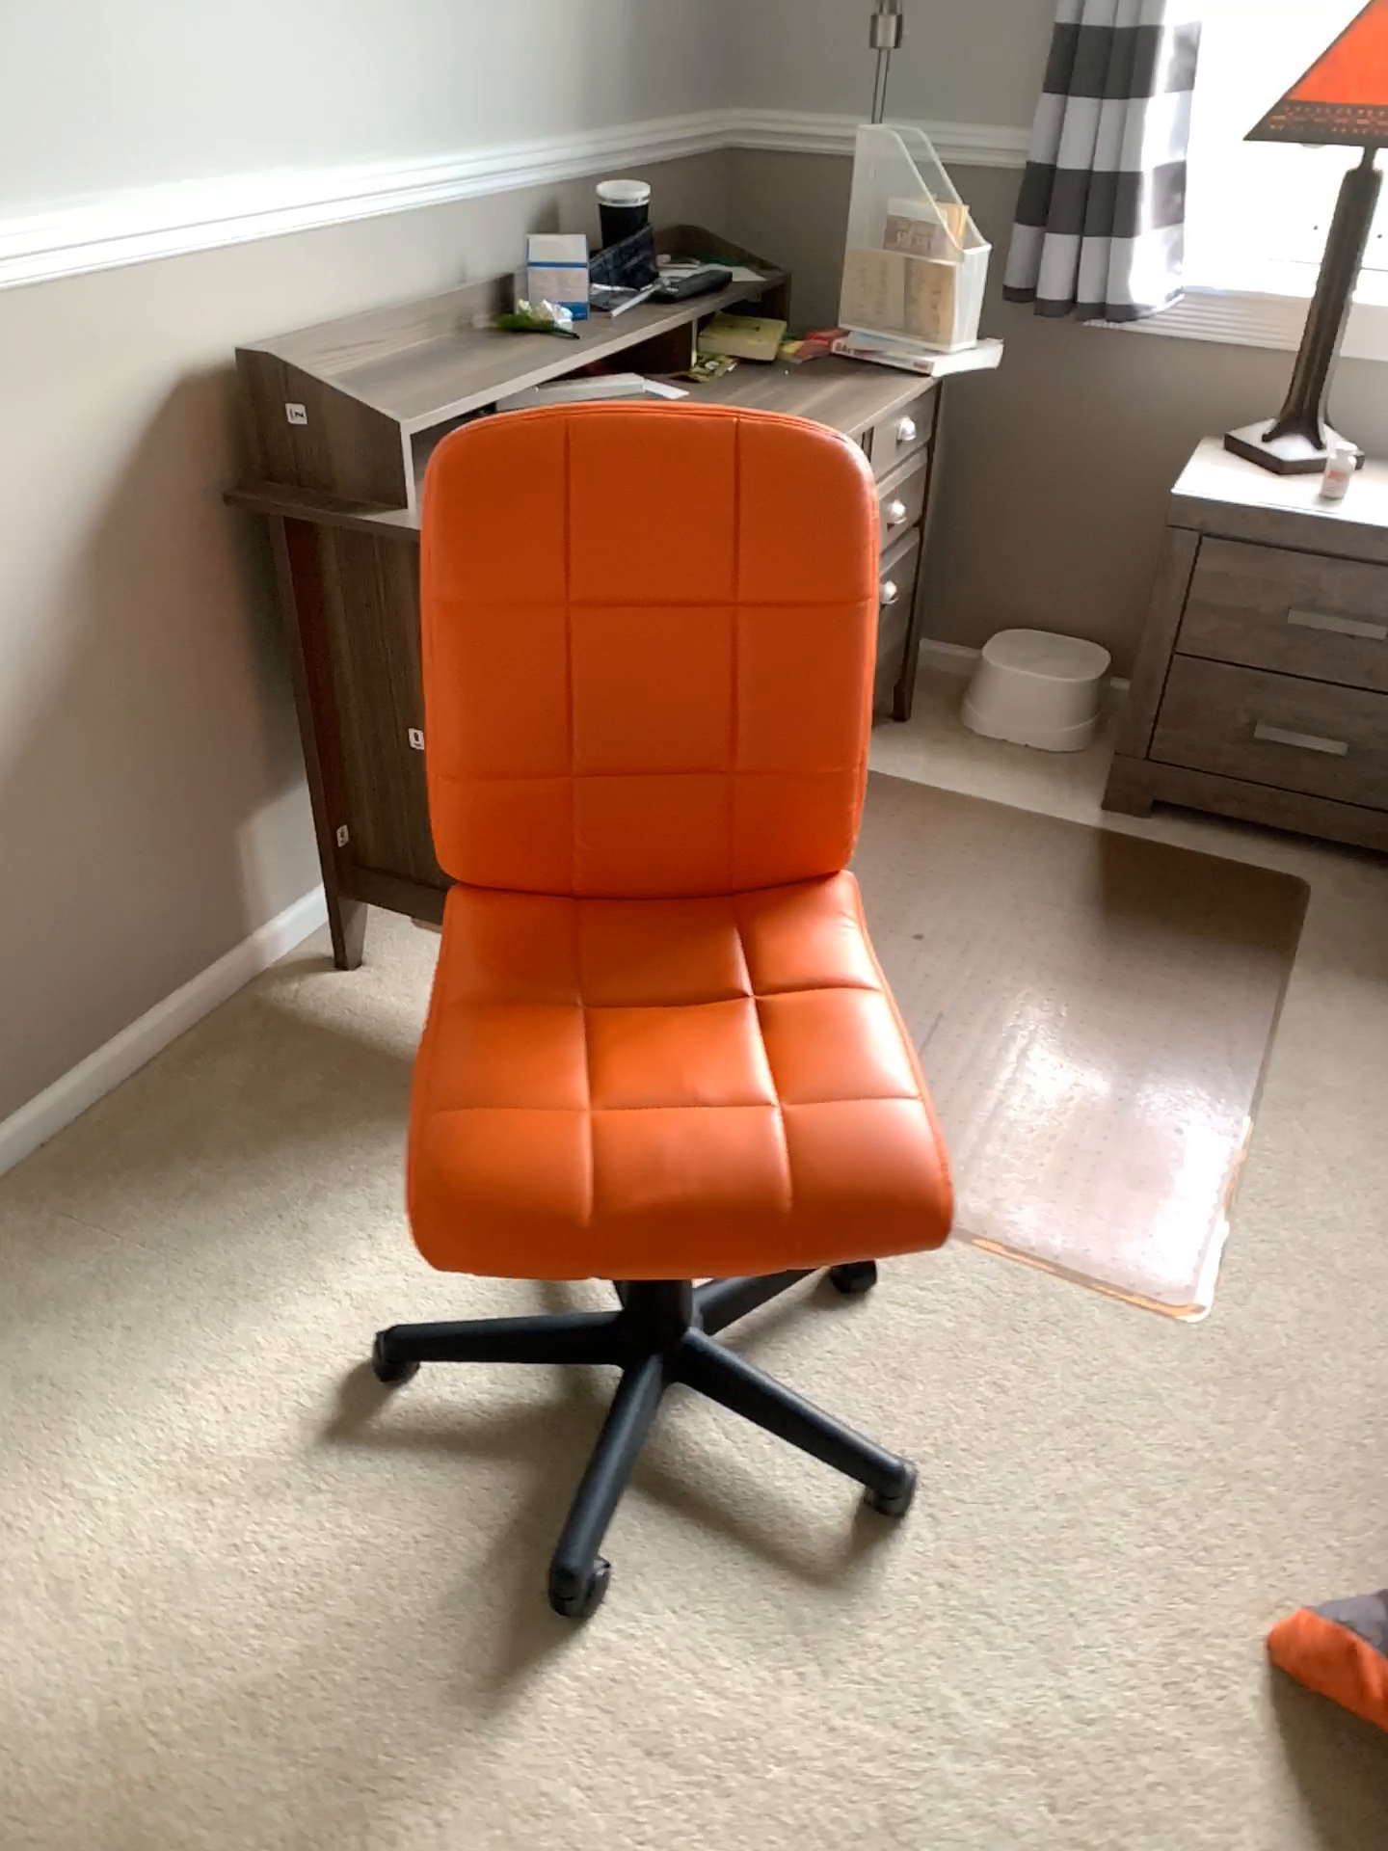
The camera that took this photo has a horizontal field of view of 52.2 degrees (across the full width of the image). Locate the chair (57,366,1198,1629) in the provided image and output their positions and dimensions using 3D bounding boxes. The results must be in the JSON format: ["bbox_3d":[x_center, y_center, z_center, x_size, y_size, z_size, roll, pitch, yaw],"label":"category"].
[{"bbox_3d":[-0.052,0.066,1.234,0.592,0.904,0.604,1,33,-2],"label":"chair"}]
